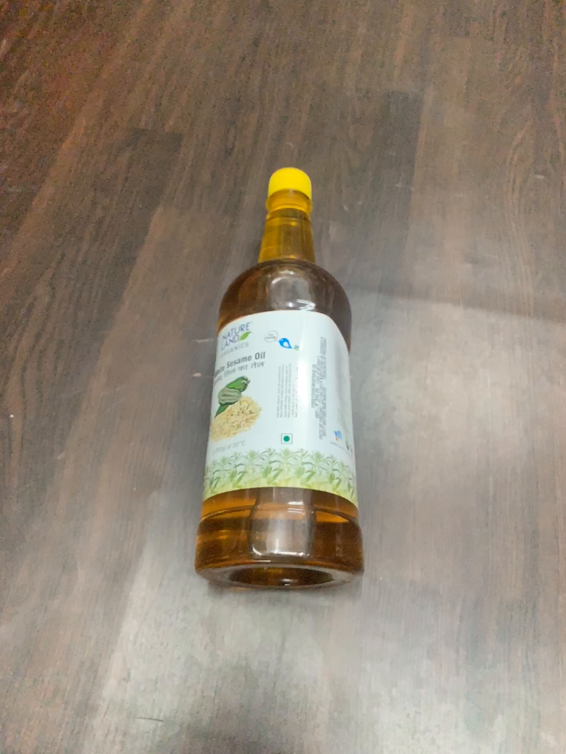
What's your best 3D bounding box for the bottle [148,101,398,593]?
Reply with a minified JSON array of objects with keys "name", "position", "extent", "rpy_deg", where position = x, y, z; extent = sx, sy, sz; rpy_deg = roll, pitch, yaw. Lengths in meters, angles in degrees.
[{"name":"bottle","position":[0.002,-0.024,0.348],"extent":[0.080,0.090,0.270],"rpy_deg":[-23,51,38]}]
